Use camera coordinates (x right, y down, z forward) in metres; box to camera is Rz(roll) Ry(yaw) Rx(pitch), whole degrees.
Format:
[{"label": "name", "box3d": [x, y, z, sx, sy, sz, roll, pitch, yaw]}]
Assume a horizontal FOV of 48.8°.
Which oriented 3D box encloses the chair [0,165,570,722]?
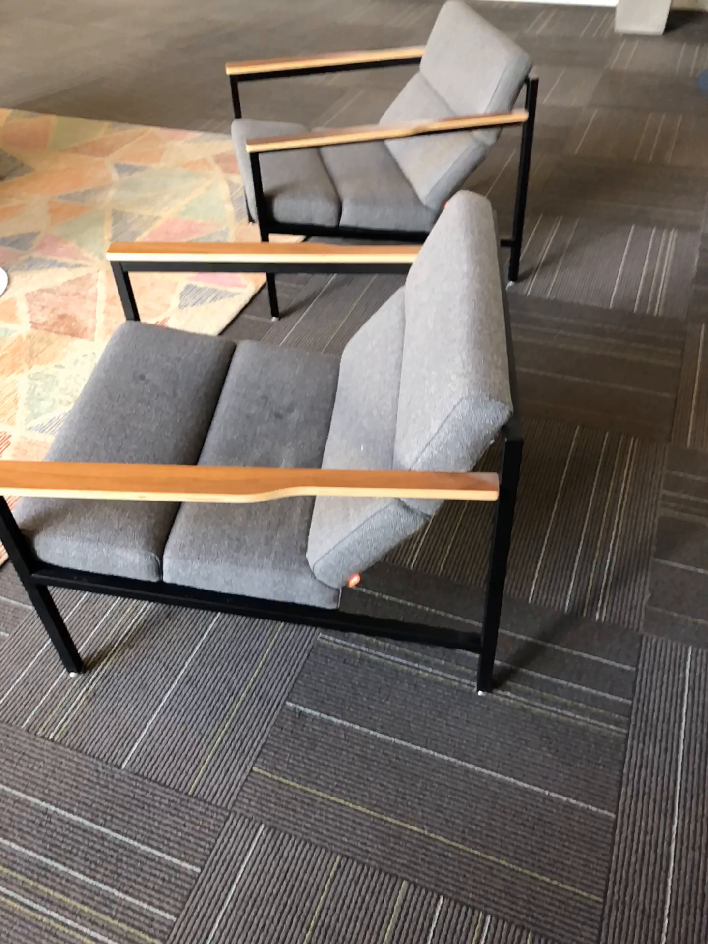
[{"label": "chair", "box3d": [-0.152, -0.066, 1.506, 0.920, 0.697, 0.794, -1, 42, 5]}]
